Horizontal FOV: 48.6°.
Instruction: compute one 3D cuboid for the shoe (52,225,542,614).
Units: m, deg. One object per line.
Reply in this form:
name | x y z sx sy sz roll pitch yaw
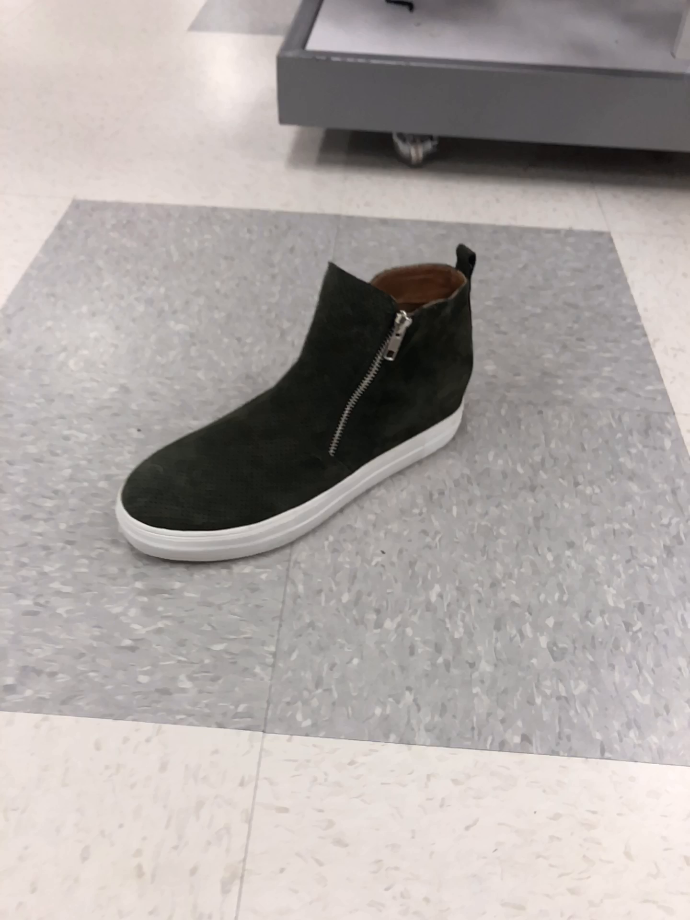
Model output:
shoe | -0.024 -0.038 0.529 0.292 0.141 0.109 -24 51 -23
